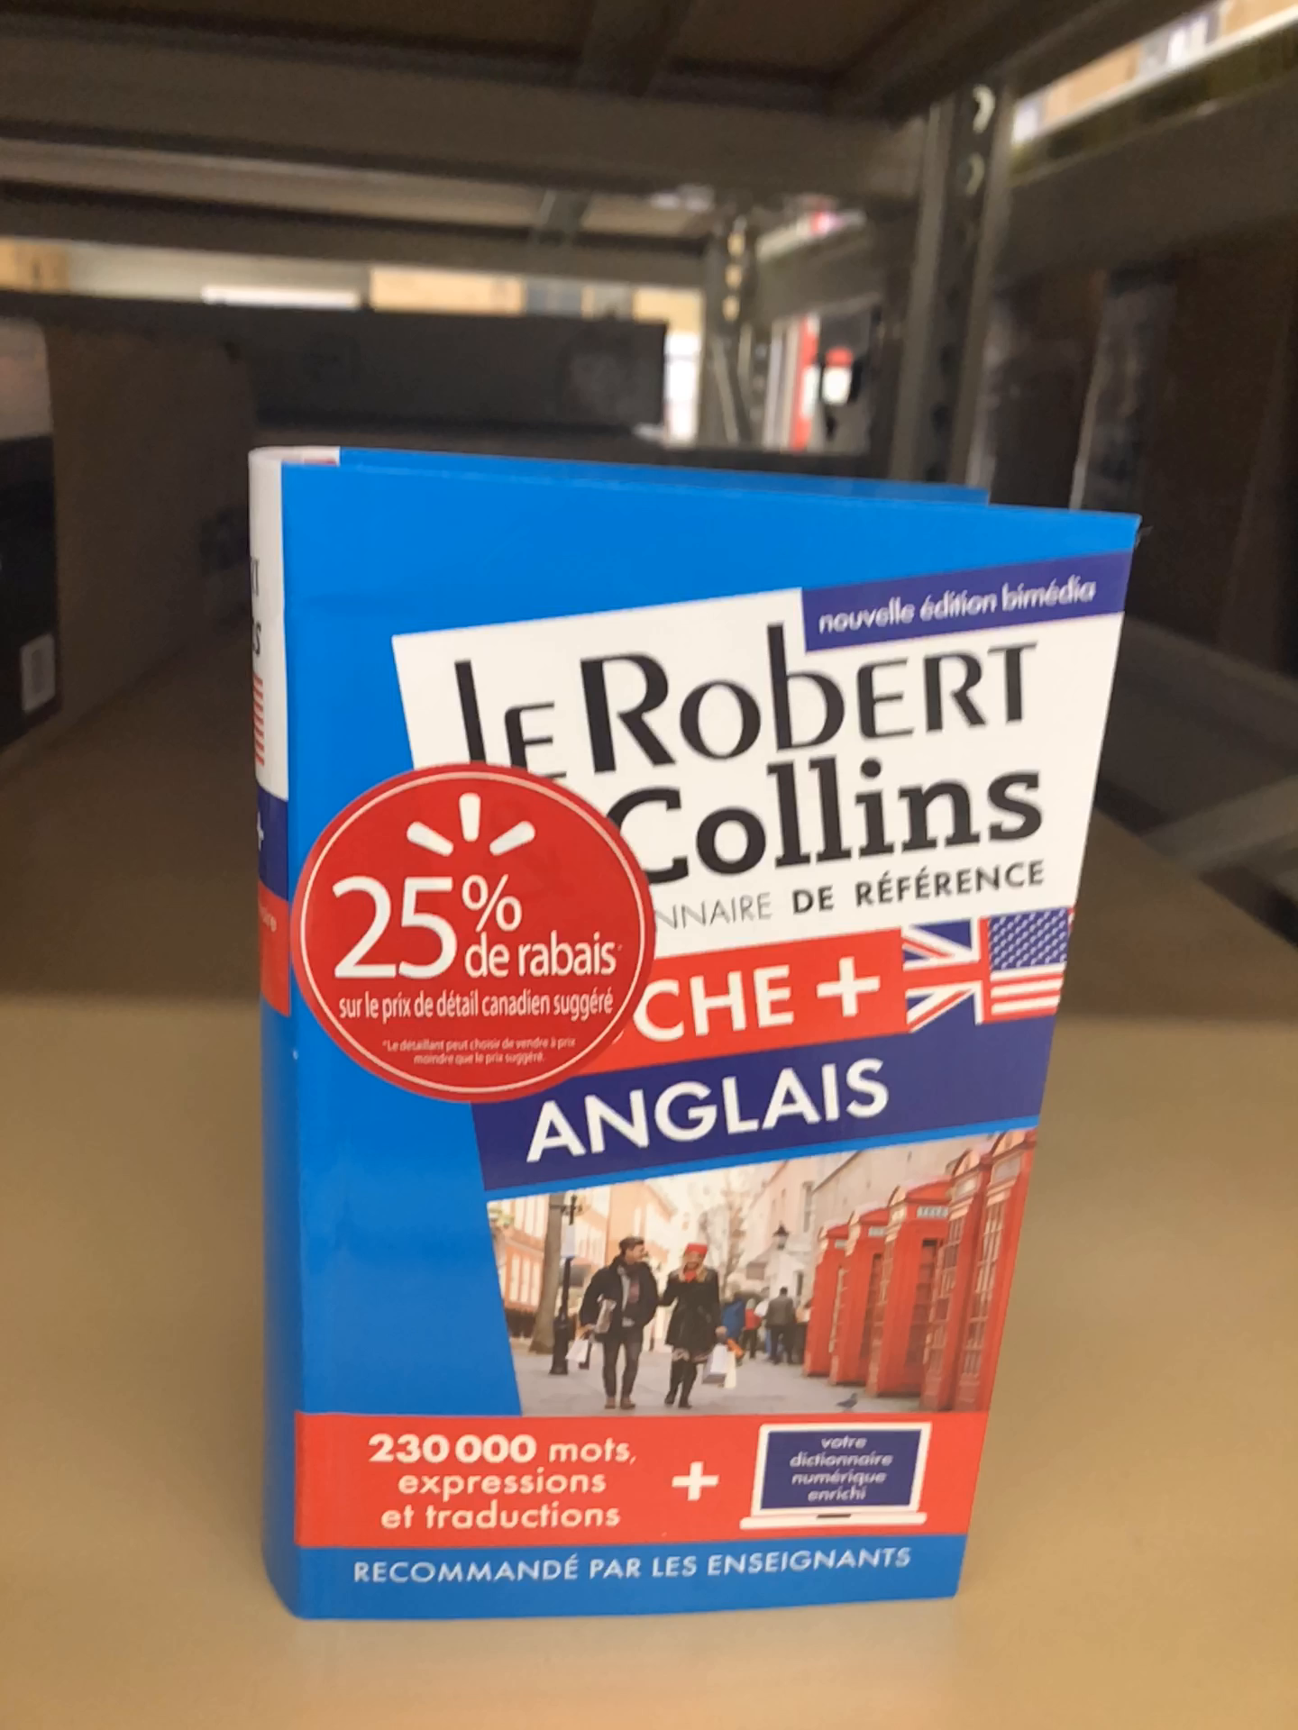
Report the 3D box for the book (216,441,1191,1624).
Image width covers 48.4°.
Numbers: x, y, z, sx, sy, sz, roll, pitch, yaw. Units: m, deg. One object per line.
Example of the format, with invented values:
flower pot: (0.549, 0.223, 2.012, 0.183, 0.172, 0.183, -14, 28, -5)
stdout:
book: (0.000, 0.028, 0.231, 0.120, 0.173, 0.059, 2, 19, -7)
